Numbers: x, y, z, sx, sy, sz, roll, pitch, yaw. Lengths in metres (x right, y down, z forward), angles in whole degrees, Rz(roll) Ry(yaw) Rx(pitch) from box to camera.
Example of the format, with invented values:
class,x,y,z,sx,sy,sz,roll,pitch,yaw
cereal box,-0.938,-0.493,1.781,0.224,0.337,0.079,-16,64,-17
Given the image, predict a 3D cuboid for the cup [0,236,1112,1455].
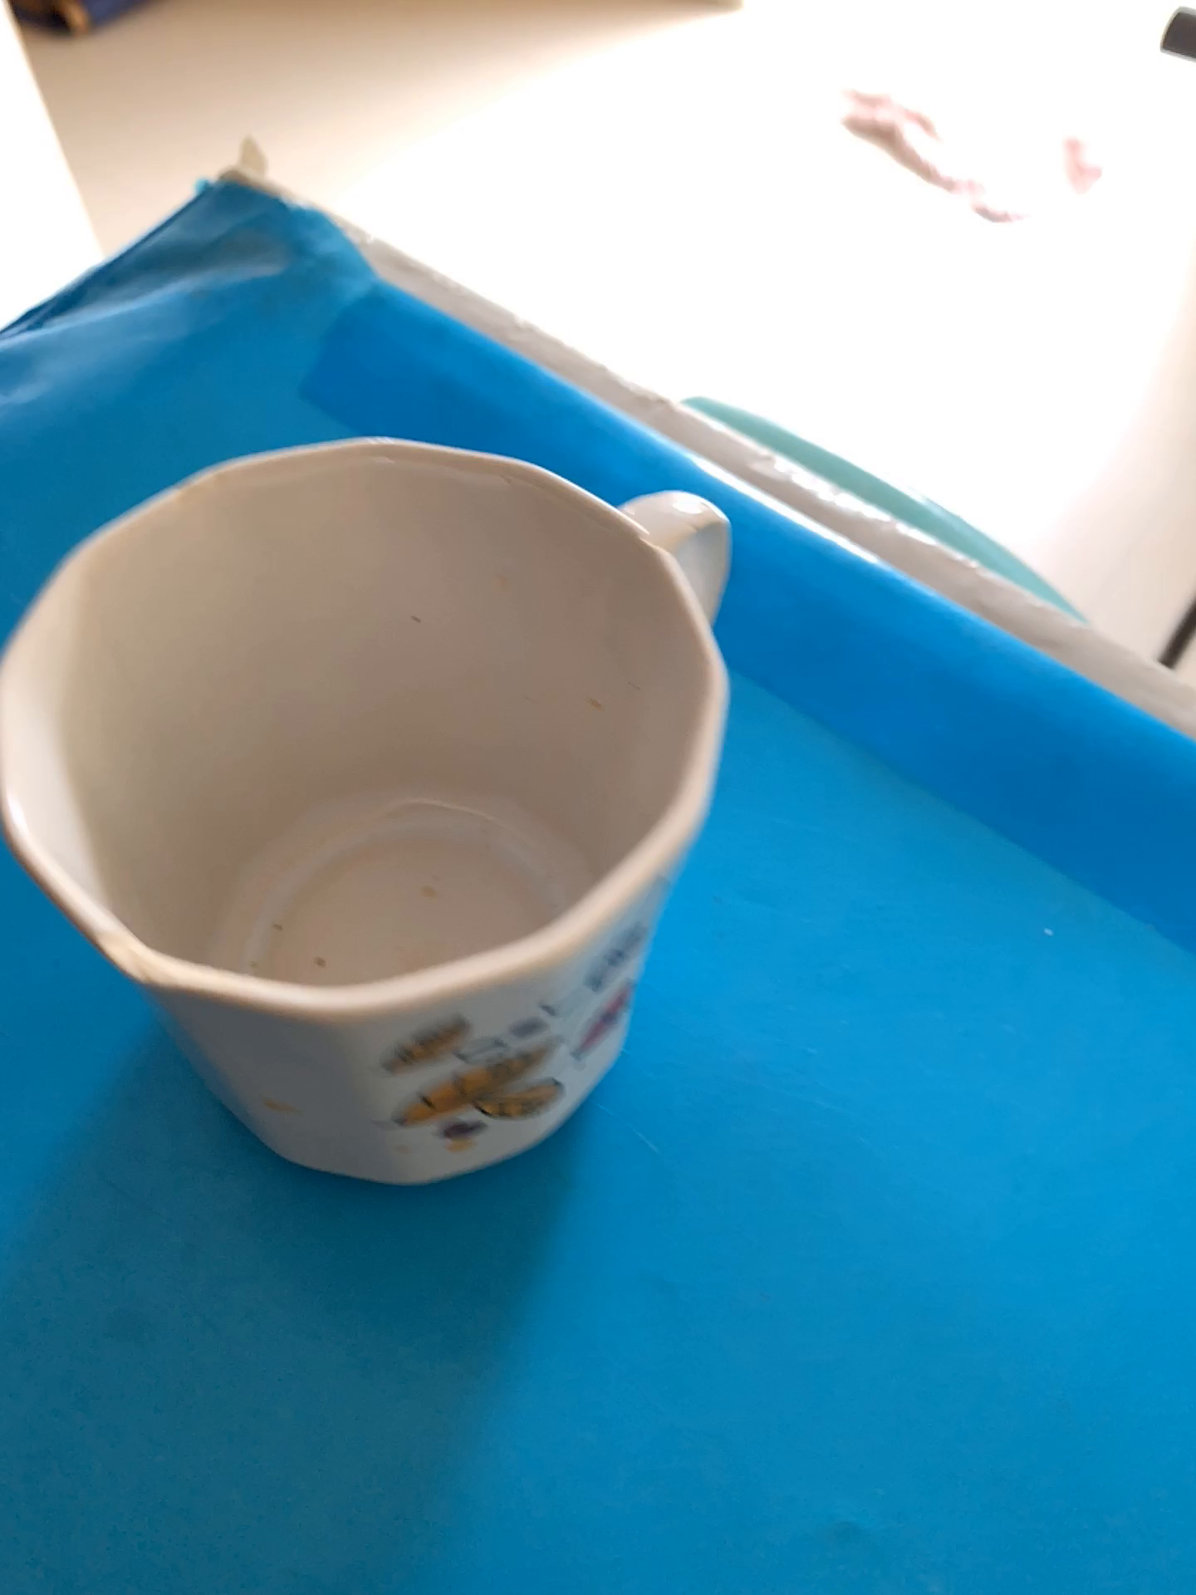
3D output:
class,x,y,z,sx,sy,sz,roll,pitch,yaw
cup,-0.014,0.002,0.138,0.100,0.060,0.070,-35,63,-20
